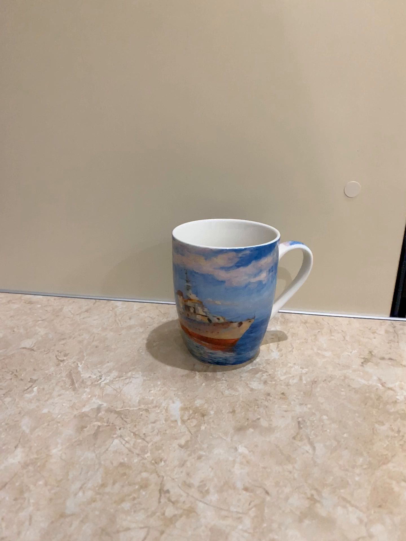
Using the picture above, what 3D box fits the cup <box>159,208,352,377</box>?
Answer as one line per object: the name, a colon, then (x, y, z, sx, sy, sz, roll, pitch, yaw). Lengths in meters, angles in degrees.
cup: (0.035, 0.008, 0.322, 0.114, 0.087, 0.083, -9, 23, -26)
